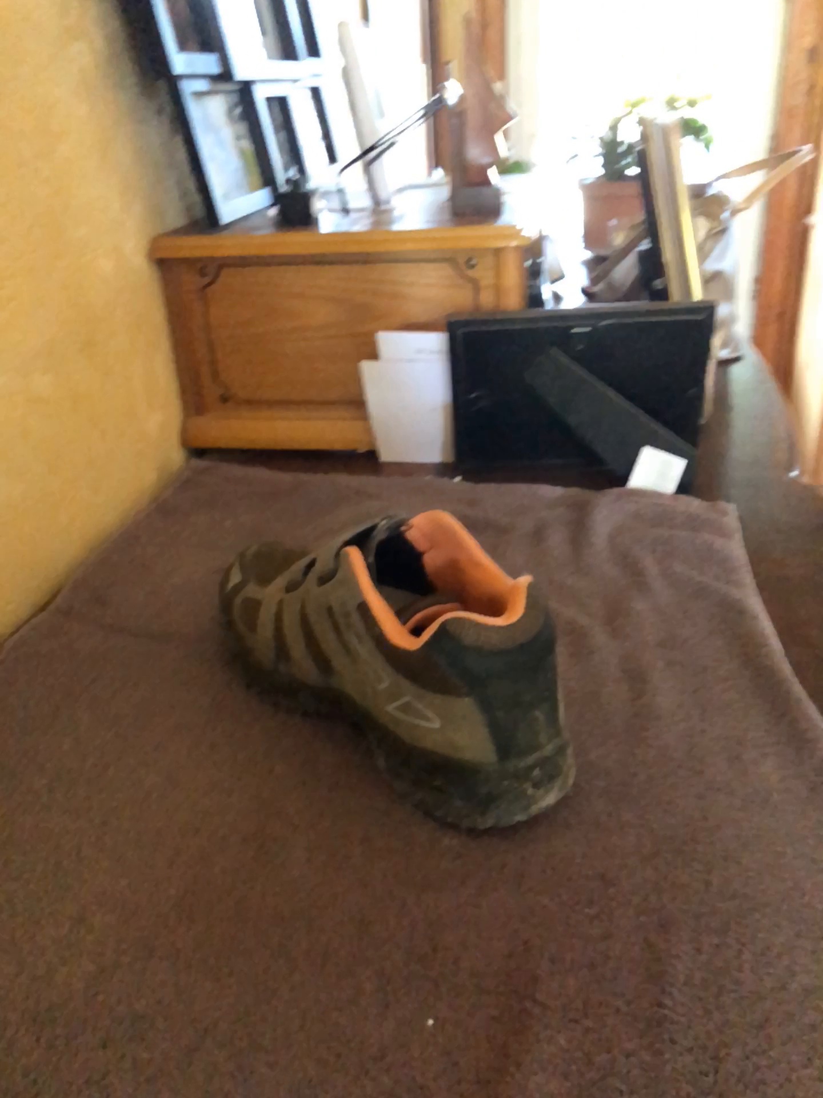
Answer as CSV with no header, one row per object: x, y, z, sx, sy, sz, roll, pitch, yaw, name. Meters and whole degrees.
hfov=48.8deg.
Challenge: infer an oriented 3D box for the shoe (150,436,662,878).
-0.017,0.032,0.481,0.111,0.099,0.270,-24,33,-35,shoe
